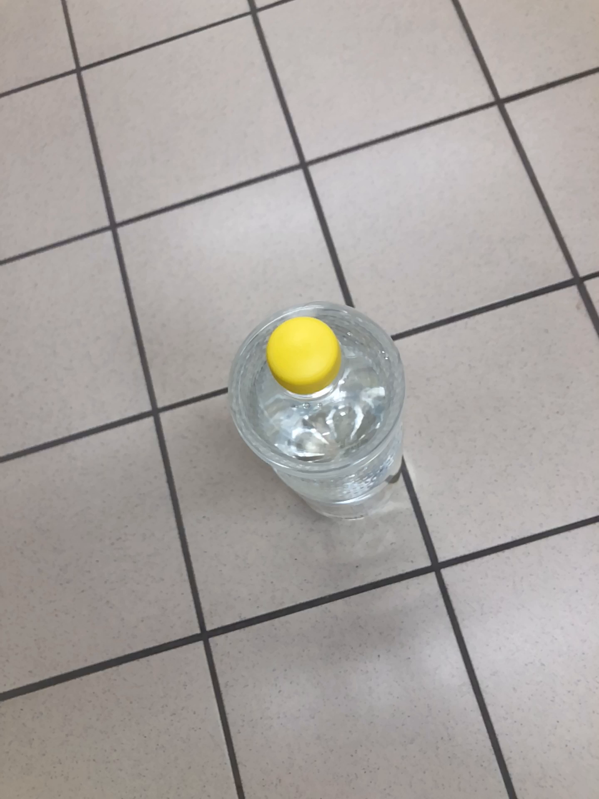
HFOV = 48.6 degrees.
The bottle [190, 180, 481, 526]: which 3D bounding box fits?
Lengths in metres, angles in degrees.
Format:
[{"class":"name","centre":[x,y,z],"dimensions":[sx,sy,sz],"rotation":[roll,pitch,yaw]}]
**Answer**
[{"class":"bottle","centre":[0.031,0.007,0.424],"dimensions":[0.100,0.320,0.100],"rotation":[-2,74,7]}]
